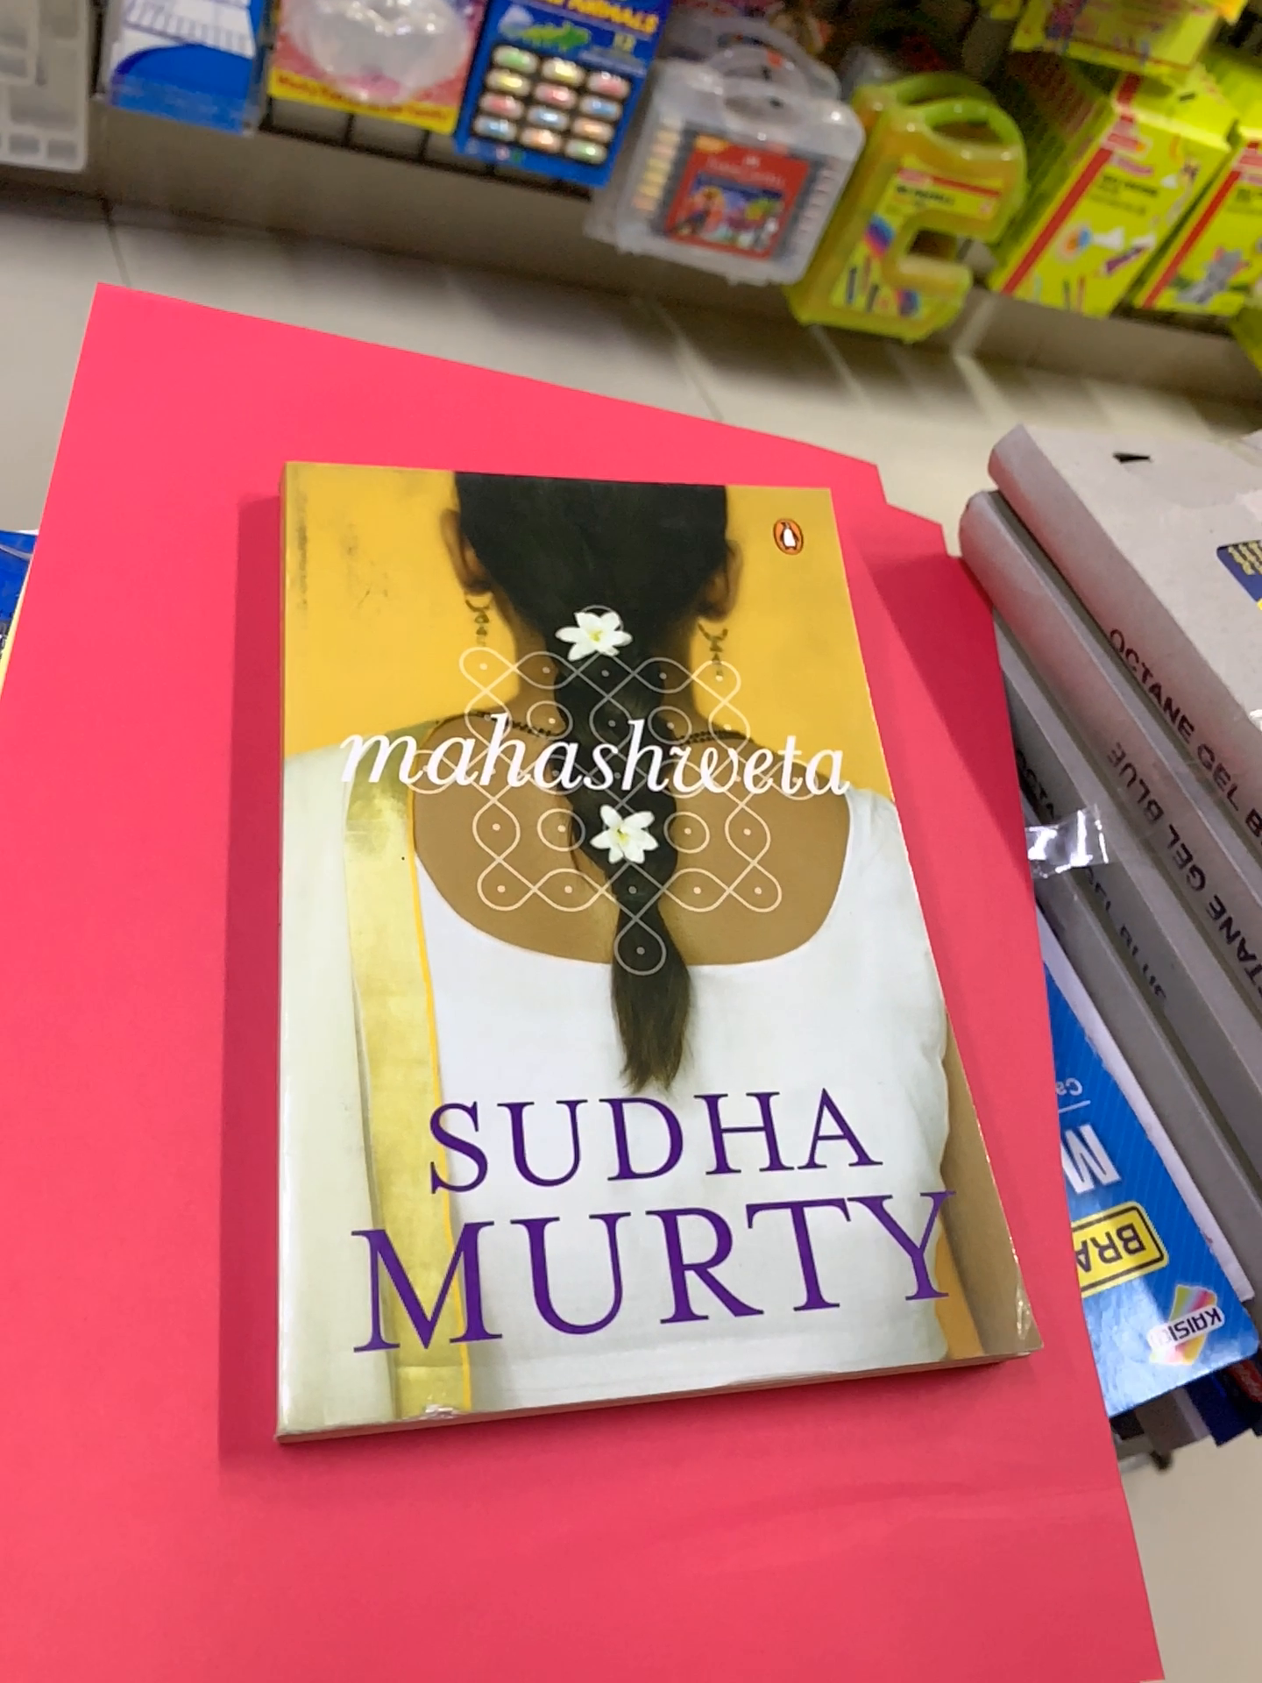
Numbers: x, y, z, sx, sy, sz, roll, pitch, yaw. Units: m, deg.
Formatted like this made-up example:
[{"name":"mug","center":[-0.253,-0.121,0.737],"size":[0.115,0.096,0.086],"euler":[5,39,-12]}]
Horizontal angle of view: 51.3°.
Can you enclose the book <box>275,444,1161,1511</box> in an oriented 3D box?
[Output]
[{"name":"book","center":[0.005,0.009,0.255],"size":[0.140,0.020,0.201],"euler":[0,61,-14]}]
